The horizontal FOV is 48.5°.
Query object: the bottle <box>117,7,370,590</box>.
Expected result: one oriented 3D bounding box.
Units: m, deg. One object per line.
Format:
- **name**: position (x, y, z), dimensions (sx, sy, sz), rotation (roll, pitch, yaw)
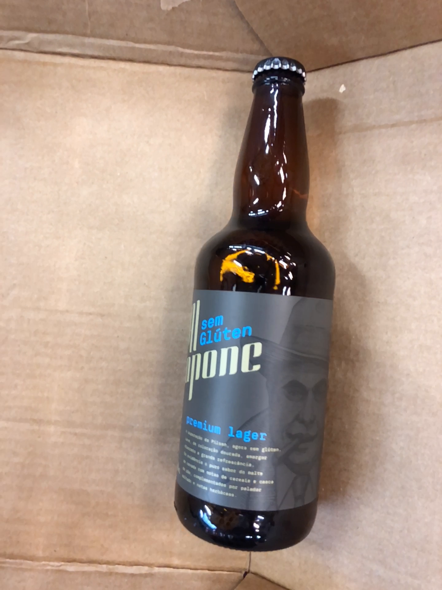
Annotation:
- **bottle**: position (0.016, 0.004, 0.232), dimensions (0.080, 0.060, 0.240), rotation (4, 86, 23)
